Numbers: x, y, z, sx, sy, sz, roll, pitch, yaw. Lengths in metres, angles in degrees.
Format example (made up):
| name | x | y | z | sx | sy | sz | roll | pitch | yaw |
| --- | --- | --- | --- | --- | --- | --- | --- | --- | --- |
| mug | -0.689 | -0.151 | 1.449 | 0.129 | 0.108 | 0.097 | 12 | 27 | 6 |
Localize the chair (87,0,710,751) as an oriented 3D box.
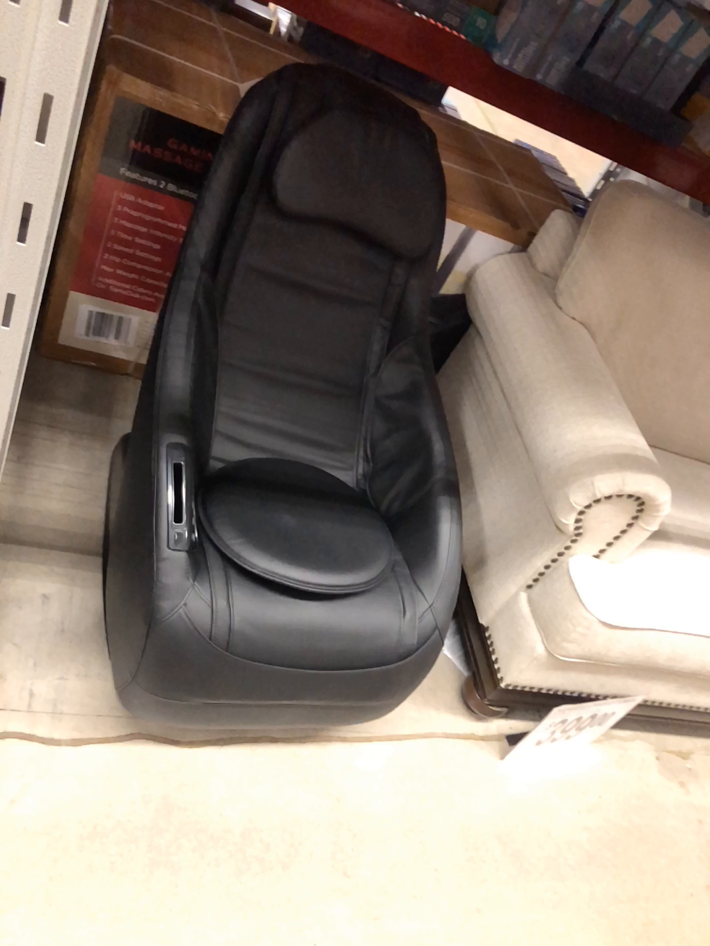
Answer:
| name | x | y | z | sx | sy | sz | roll | pitch | yaw |
| --- | --- | --- | --- | --- | --- | --- | --- | --- | --- |
| chair | -0.006 | -0.087 | 1.265 | 0.651 | 0.847 | 0.701 | 9 | 44 | -27 |
